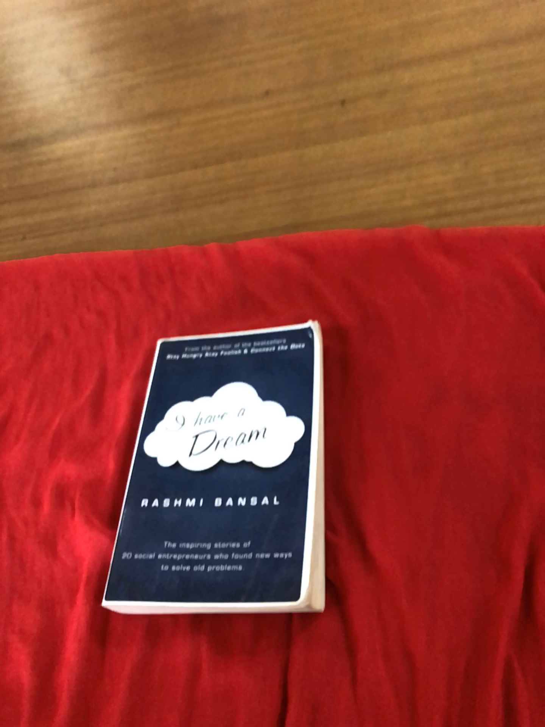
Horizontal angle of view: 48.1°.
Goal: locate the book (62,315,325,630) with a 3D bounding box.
[{"bbox_3d":[-0.040,0.065,0.393,0.140,0.040,0.190,-7,54,16],"label":"book"}]
